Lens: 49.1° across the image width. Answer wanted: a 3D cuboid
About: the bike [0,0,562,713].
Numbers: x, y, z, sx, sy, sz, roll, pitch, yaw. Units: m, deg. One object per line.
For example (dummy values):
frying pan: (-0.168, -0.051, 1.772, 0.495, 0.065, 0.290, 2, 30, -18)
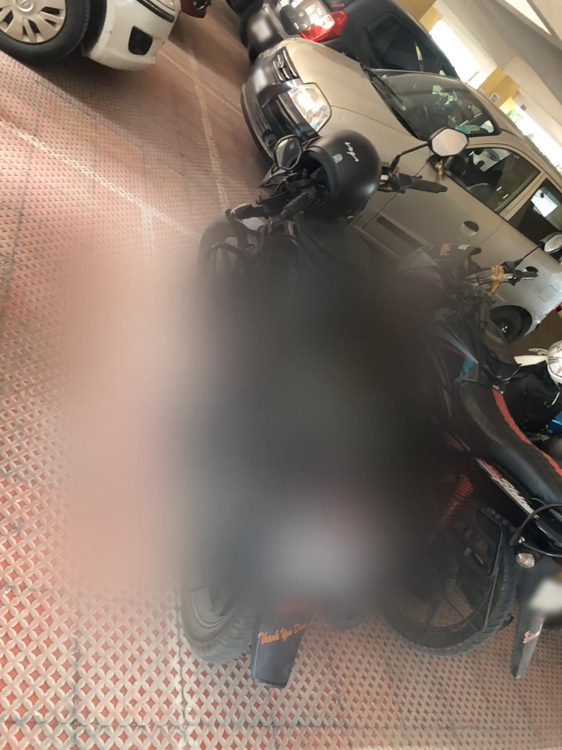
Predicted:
bike: (-0.136, -0.227, 1.818, 0.805, 1.201, 1.689, 29, 34, -31)
